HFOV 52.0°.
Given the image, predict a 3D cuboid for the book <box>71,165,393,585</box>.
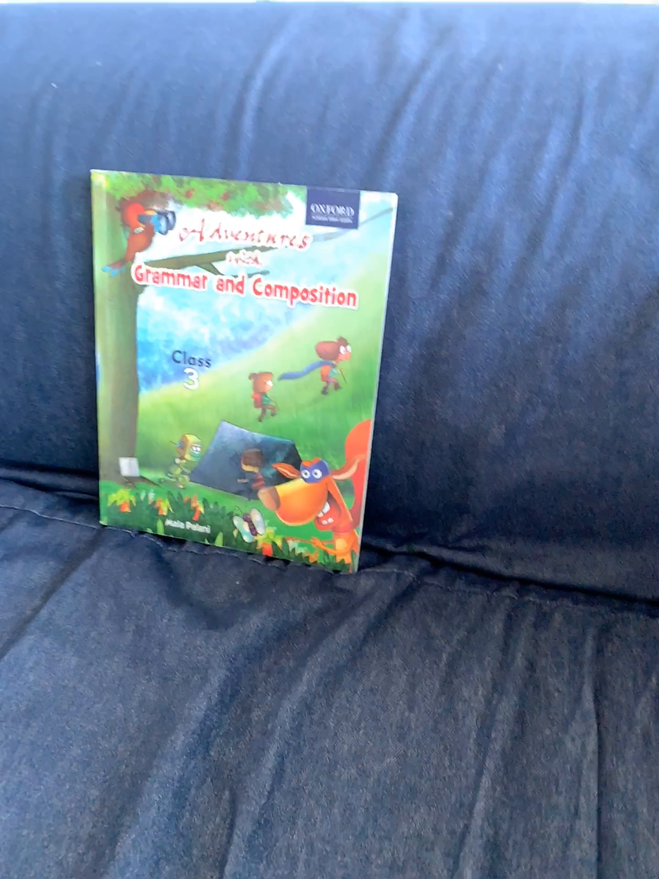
[{"bbox_3d":[-0.076,-0.043,0.482,0.212,0.268,0.030,9,20,13],"label":"book"}]
